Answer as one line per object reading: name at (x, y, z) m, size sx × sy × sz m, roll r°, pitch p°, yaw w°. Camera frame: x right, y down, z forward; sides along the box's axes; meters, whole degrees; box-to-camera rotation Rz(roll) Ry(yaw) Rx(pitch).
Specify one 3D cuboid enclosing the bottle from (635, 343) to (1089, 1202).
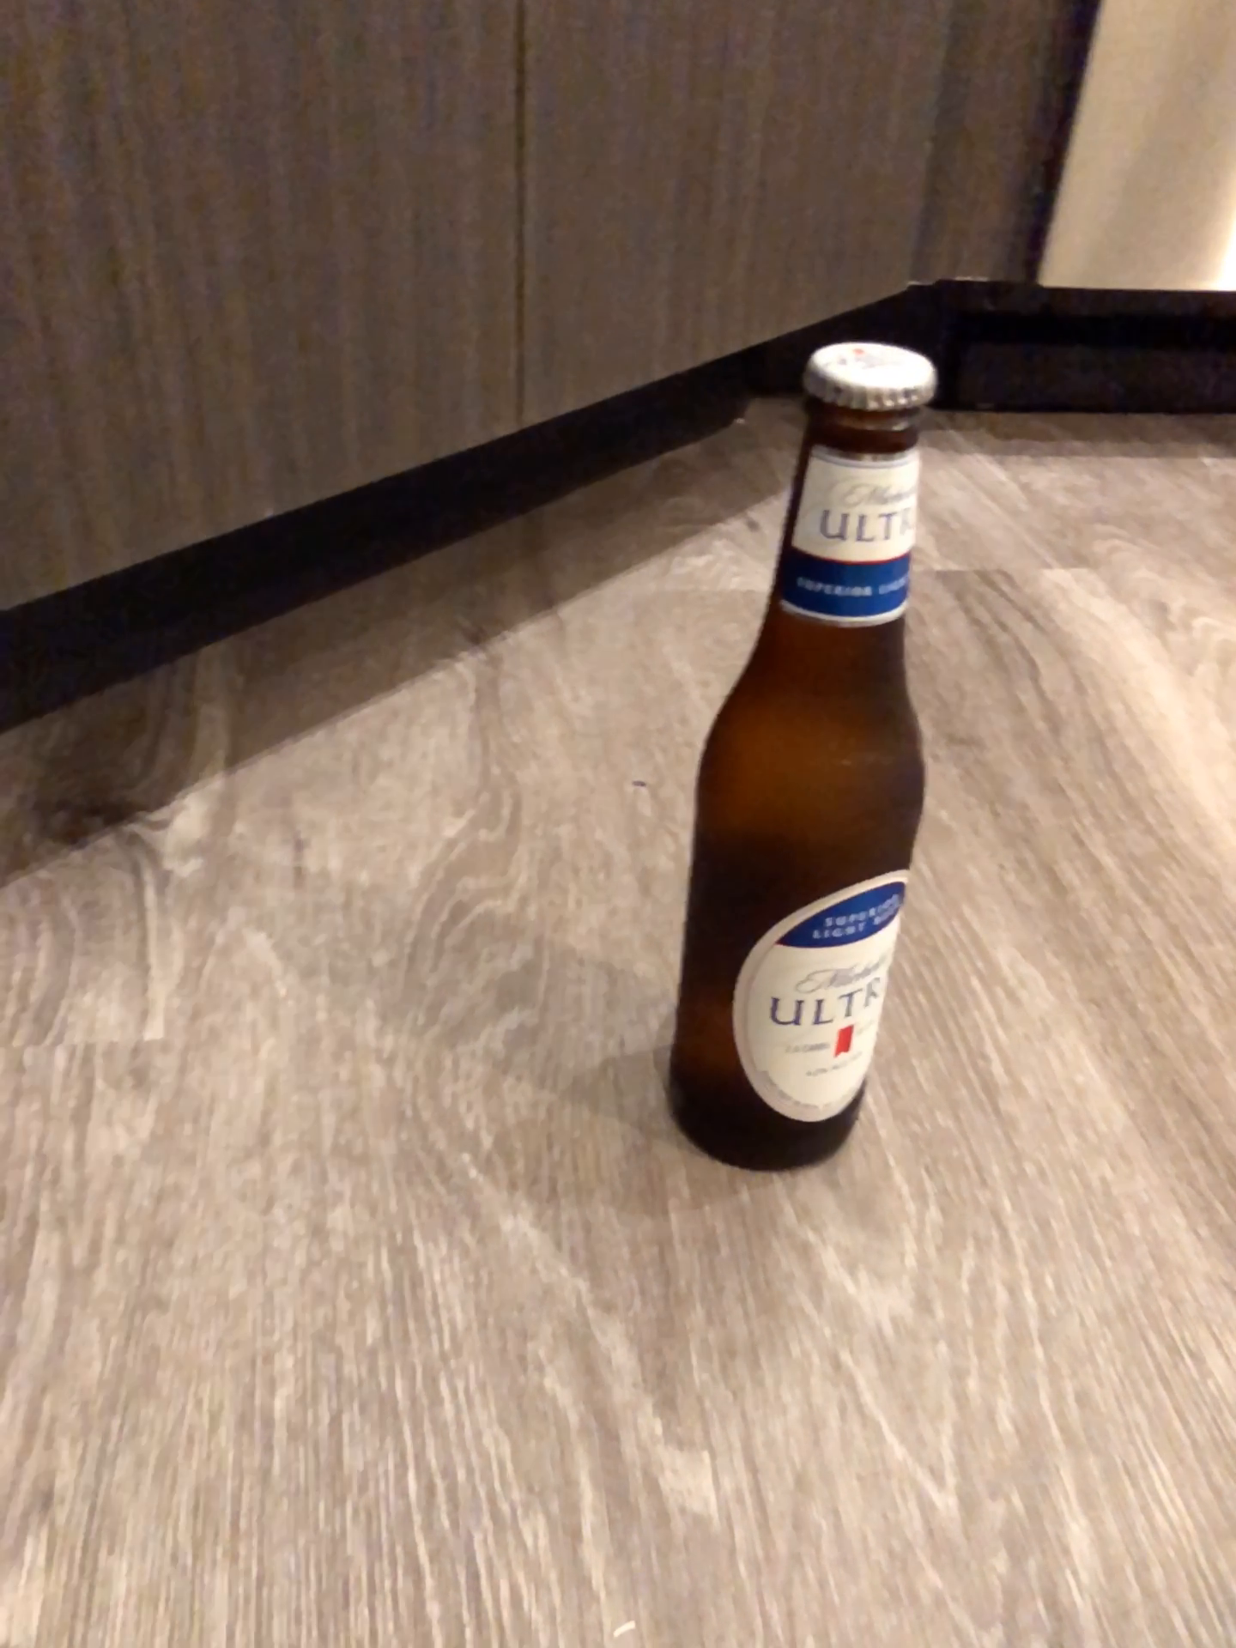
bottle at (0.050, -0.004, 0.346) m, size 0.060 × 0.209 × 0.060 m, roll 2°, pitch 35°, yaw -2°
